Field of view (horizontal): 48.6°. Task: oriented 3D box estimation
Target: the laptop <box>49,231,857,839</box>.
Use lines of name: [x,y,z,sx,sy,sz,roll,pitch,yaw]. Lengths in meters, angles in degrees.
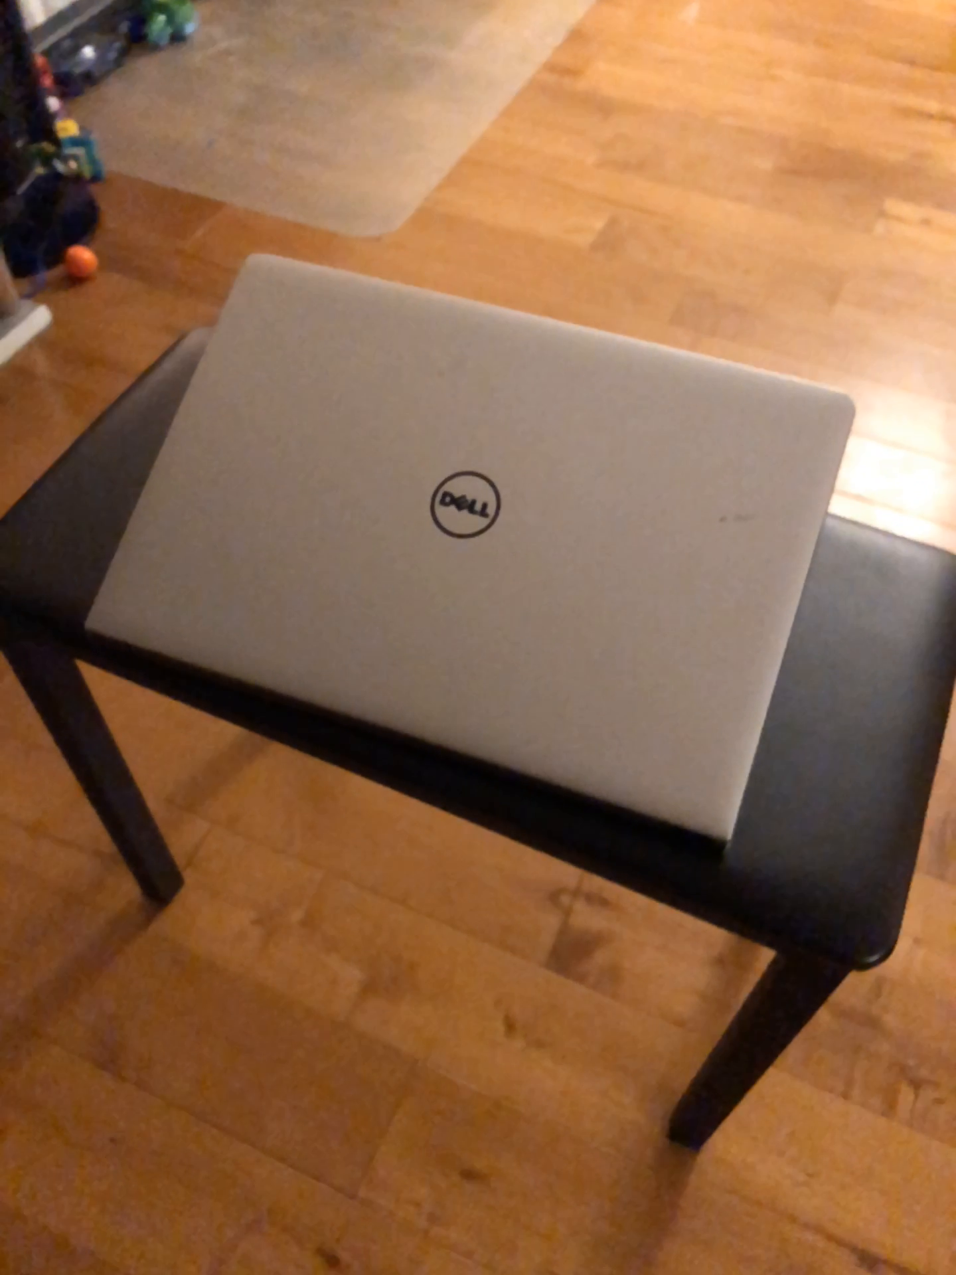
laptop: [-0.003,-0.077,0.600,0.365,0.107,0.248,17,56,13]
